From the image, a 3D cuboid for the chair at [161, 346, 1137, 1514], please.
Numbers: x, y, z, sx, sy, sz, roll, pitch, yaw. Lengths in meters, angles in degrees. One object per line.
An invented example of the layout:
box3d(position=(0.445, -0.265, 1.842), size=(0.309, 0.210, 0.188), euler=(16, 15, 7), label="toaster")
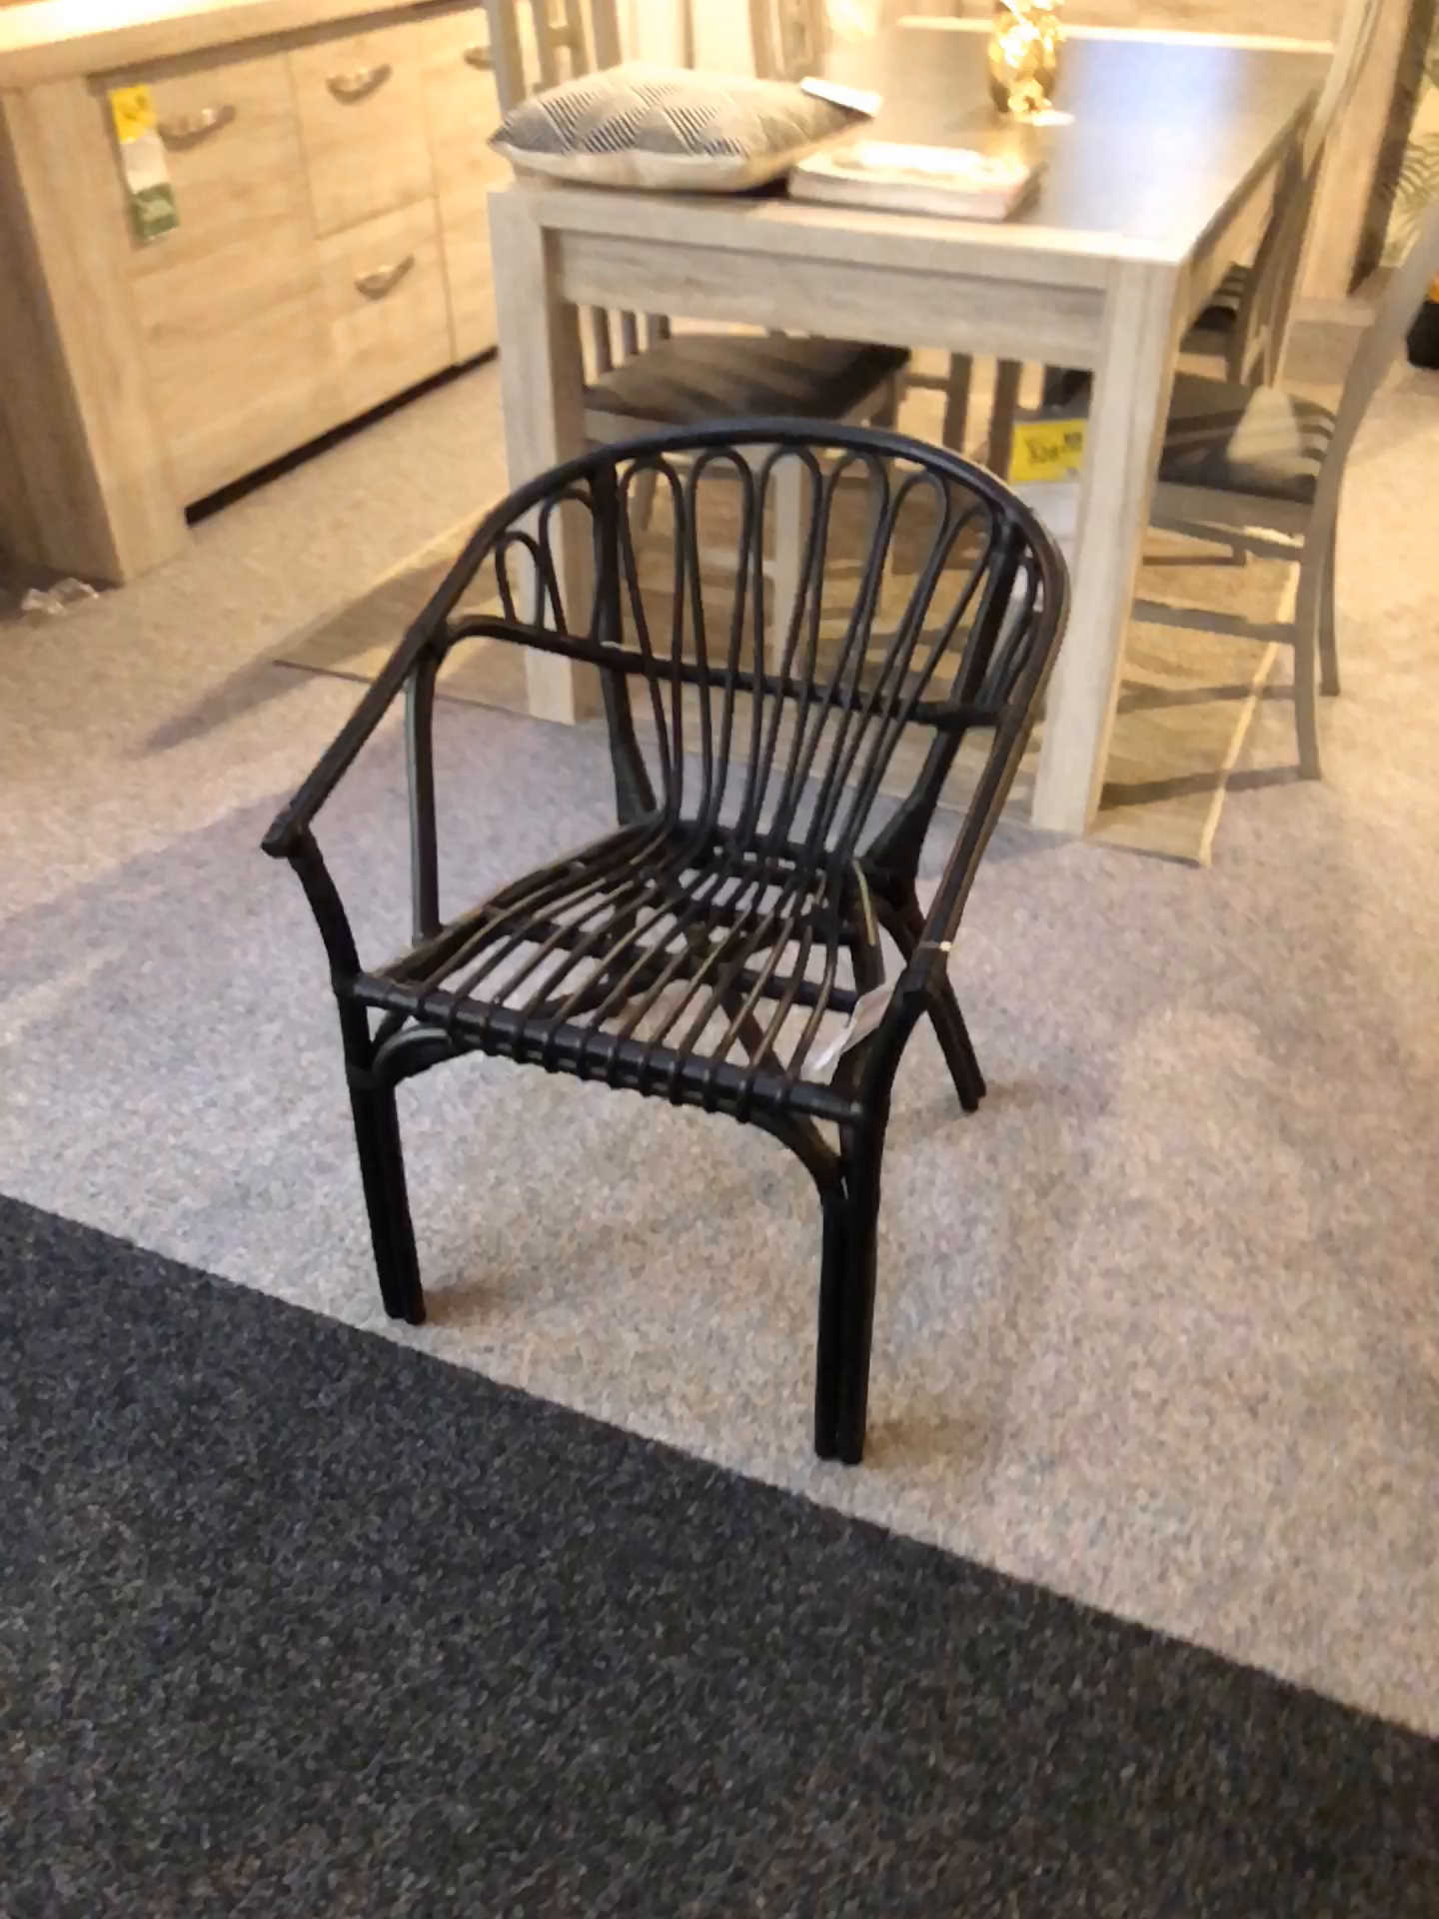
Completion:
box3d(position=(-0.015, -0.054, 1.383), size=(0.530, 0.736, 0.564), euler=(15, 39, 19), label="chair")
